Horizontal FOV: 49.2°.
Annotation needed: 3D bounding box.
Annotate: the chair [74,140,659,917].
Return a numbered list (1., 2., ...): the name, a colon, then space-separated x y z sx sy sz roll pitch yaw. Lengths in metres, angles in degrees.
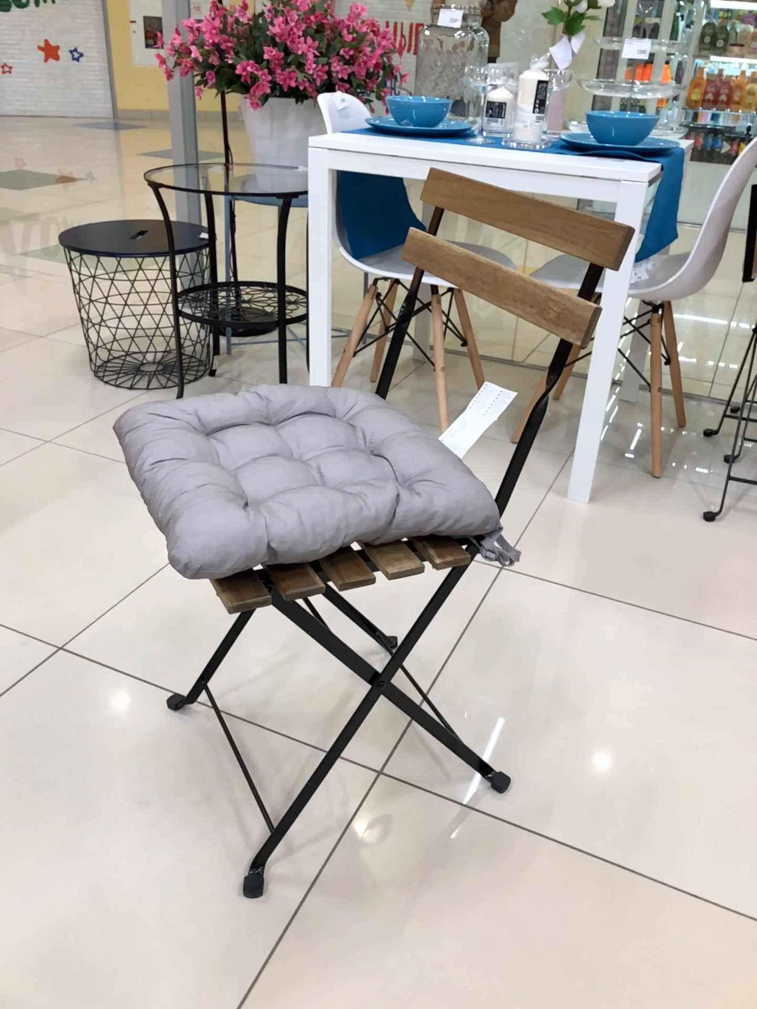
1. chair: -0.055 -0.007 1.022 0.441 0.765 0.442 -12 32 -25
